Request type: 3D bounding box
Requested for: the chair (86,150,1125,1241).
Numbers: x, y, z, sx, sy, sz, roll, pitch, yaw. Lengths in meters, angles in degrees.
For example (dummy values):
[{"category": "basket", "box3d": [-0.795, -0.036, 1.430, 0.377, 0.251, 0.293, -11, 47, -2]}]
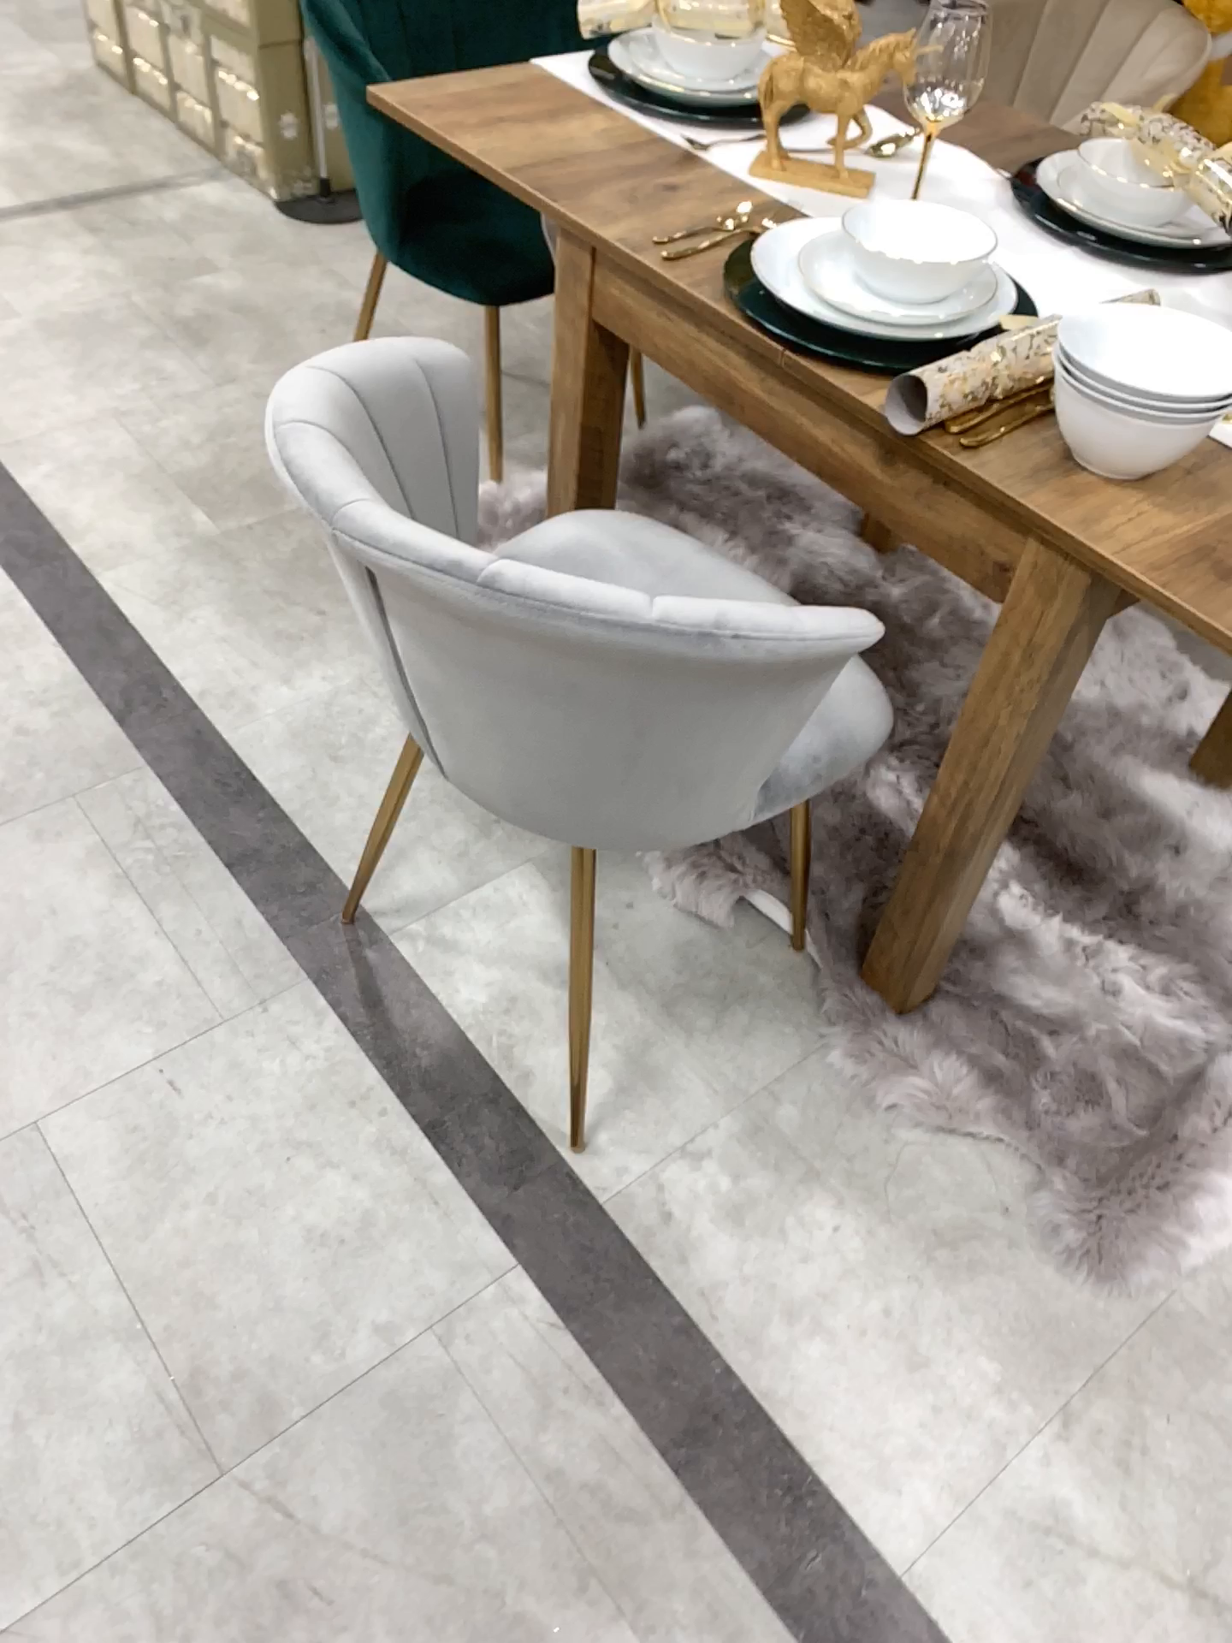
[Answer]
[{"category": "chair", "box3d": [-0.040, -0.139, 1.262, 0.552, 0.709, 0.634, -32, 58, -30]}]
